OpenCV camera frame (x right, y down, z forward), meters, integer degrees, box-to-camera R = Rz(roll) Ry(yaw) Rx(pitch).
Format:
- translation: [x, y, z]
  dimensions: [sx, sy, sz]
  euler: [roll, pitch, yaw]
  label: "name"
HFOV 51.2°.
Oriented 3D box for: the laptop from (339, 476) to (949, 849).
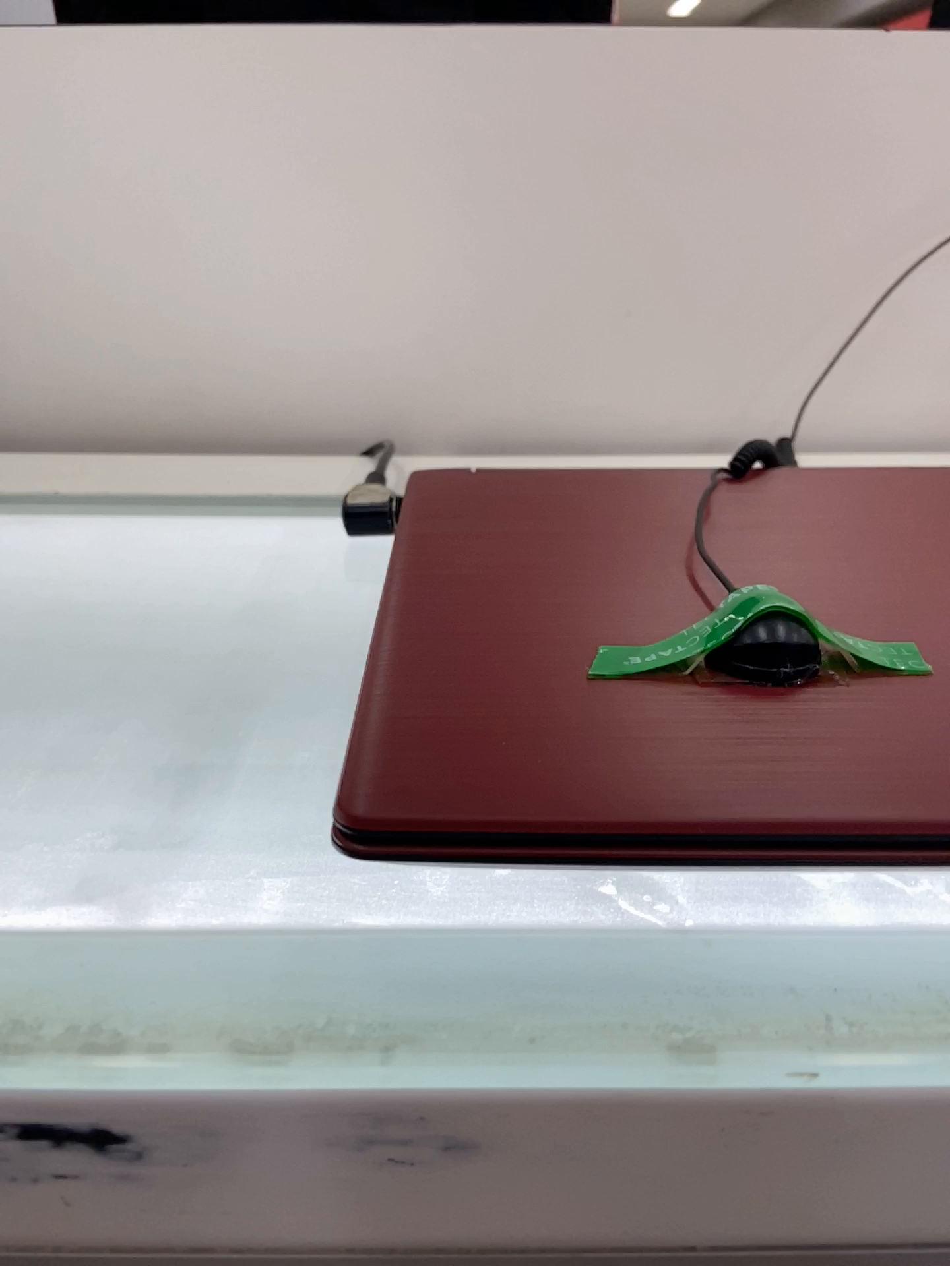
- translation: [0.160, -0.014, 0.296]
  dimensions: [0.367, 0.006, 0.263]
  euler: [0, 22, -1]
  label: "laptop"
